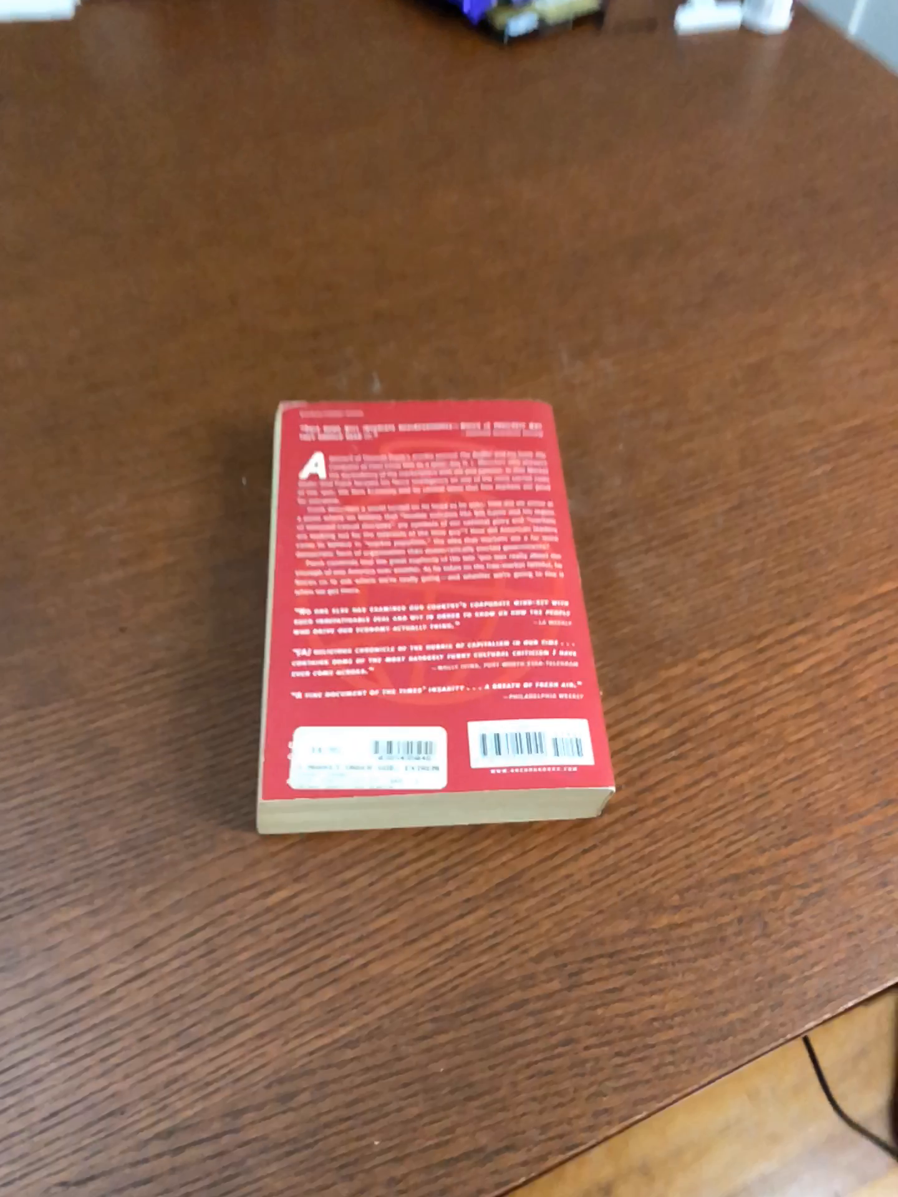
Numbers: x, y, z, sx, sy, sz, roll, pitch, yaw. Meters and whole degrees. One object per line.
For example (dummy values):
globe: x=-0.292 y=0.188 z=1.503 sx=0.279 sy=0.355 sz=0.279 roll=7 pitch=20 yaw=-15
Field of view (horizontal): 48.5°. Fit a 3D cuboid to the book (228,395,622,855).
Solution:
book: x=-0.015 y=-0.001 z=0.427 sx=0.140 sy=0.030 sz=0.211 roll=-2 pitch=55 yaw=-4
